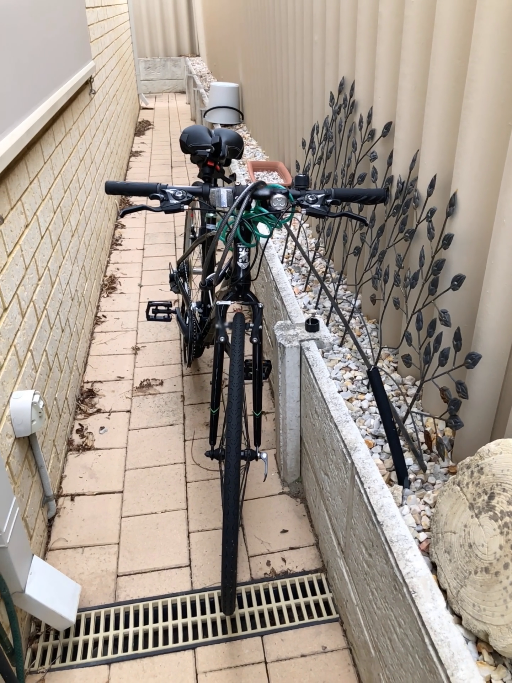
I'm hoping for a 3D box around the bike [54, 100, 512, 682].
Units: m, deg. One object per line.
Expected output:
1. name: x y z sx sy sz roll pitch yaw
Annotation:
1. bike: -0.060 -0.135 1.688 0.638 0.859 1.708 -5 31 -7
